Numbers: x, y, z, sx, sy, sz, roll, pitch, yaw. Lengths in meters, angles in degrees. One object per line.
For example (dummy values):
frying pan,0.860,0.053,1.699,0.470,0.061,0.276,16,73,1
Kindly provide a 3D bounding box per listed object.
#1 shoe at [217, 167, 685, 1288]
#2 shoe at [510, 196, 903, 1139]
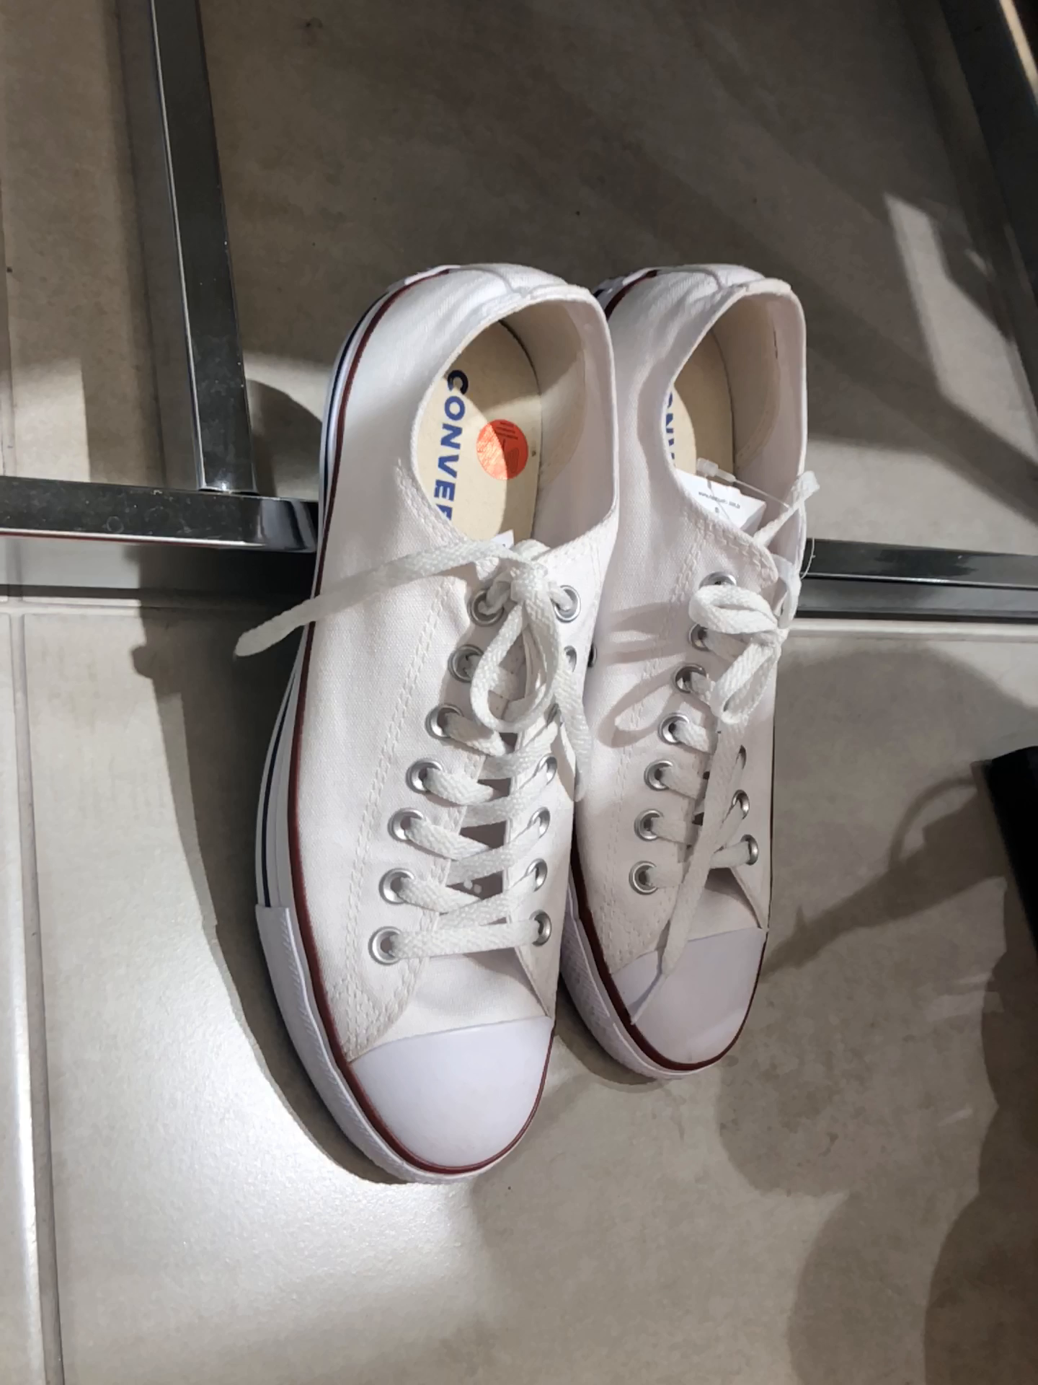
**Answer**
shoe,-0.025,0.010,0.362,0.110,0.090,0.290,0,94,-30
shoe,0.064,-0.008,0.417,0.100,0.090,0.290,-2,95,-30
